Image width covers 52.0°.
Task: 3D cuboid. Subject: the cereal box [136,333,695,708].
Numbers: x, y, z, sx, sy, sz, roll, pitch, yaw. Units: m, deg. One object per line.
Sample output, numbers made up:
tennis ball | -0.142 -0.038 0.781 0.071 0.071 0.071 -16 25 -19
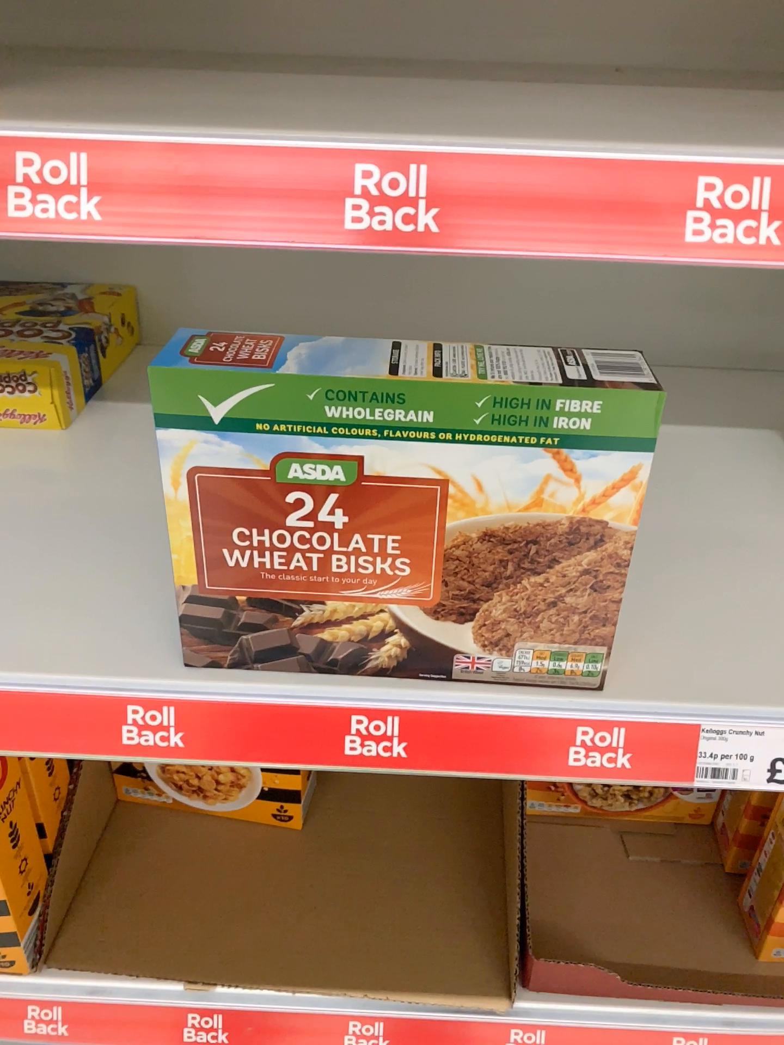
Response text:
cereal box | 0.009 0.002 0.436 0.250 0.178 0.071 3 31 2
